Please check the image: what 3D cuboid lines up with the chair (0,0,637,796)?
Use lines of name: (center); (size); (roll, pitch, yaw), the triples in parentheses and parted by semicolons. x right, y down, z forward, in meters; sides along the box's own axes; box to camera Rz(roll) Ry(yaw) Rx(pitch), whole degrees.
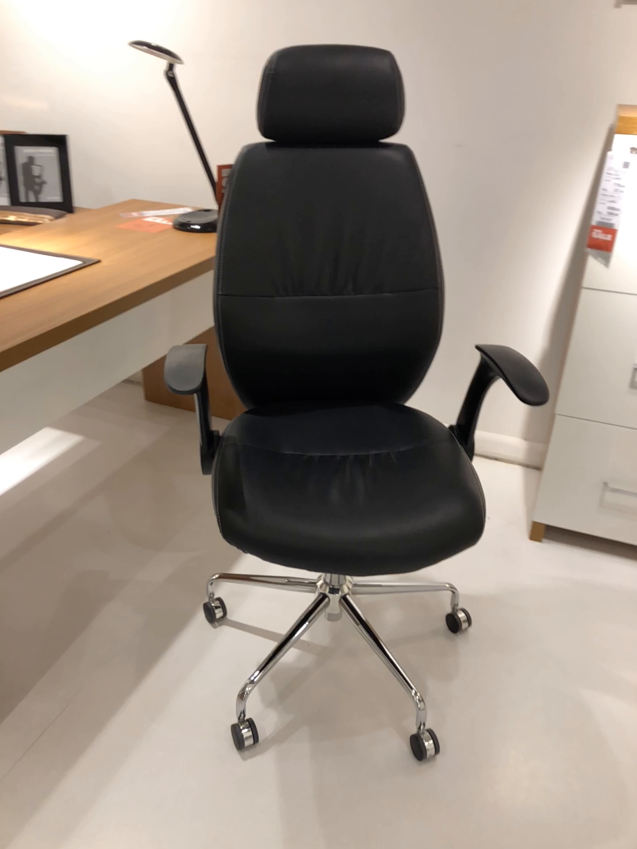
chair: (-0.056, -0.040, 1.306); (0.690, 1.299, 0.716); (1, 31, -5)
